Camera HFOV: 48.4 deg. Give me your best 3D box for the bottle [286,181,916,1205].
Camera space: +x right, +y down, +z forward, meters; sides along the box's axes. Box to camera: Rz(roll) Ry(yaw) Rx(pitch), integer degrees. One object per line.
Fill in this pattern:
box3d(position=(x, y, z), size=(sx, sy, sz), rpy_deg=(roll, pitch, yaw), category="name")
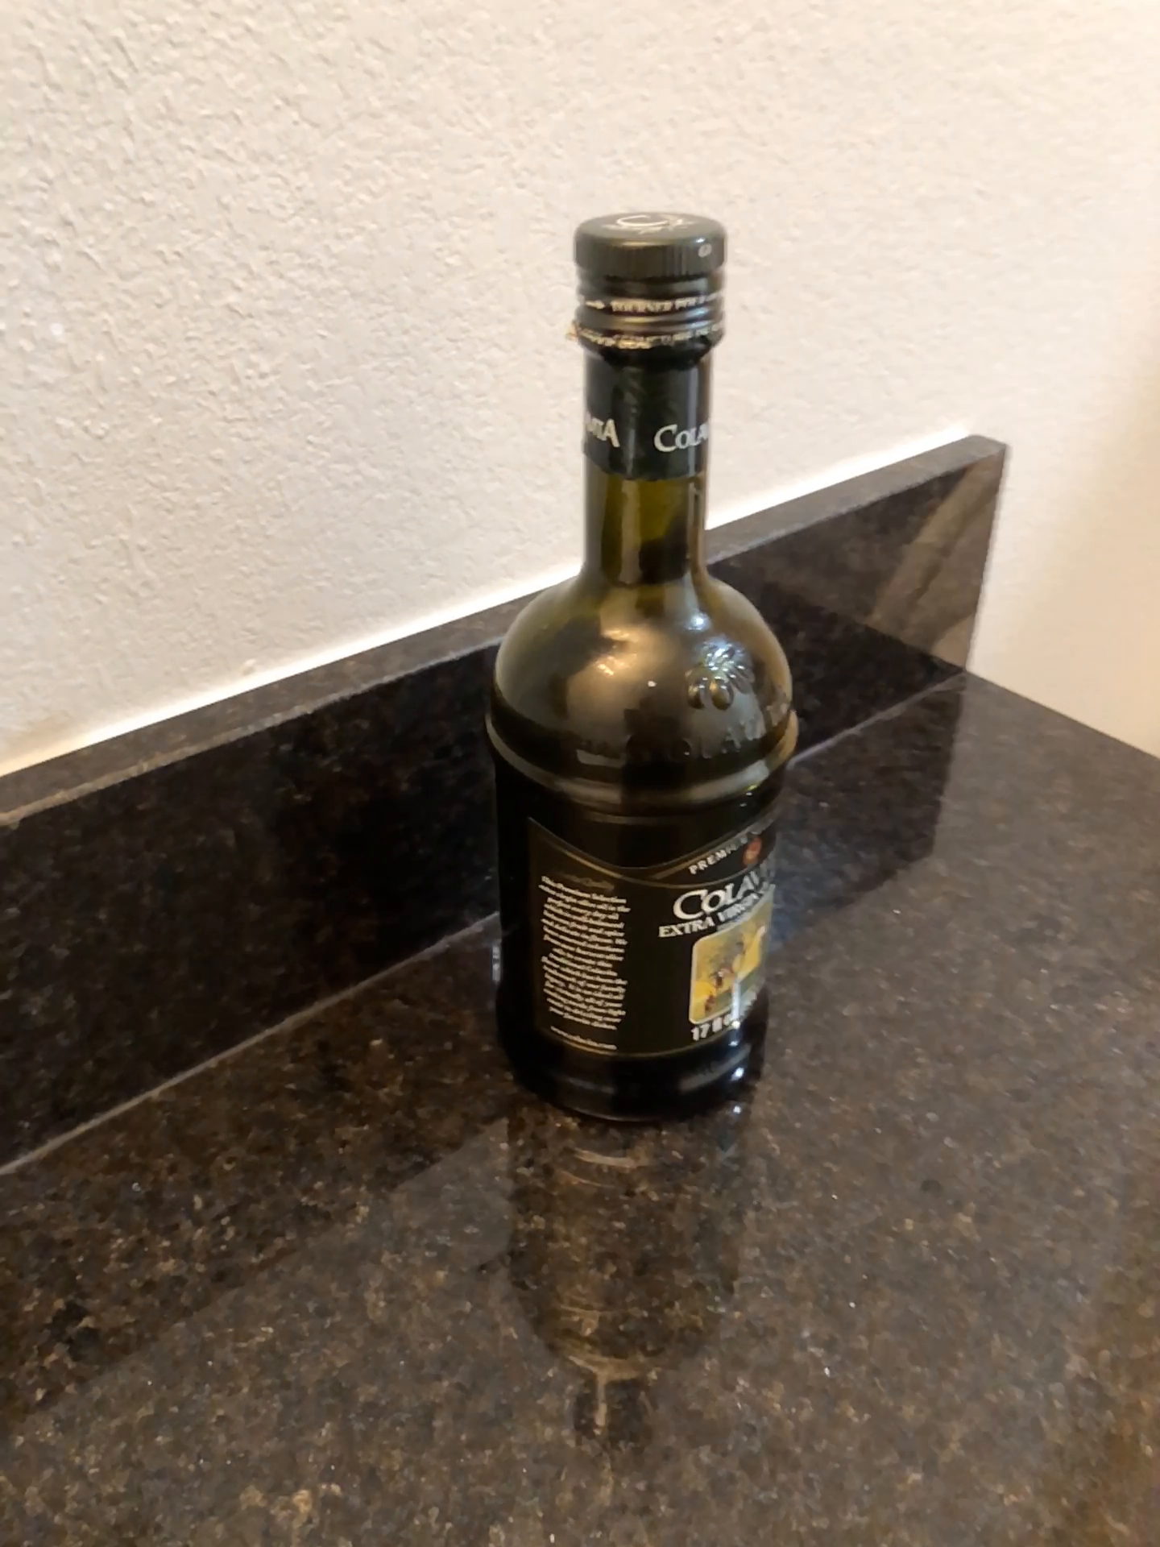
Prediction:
box3d(position=(0.003, -0.017, 0.321), size=(0.090, 0.219, 0.090), rpy_deg=(0, 33, 0), category="bottle")
